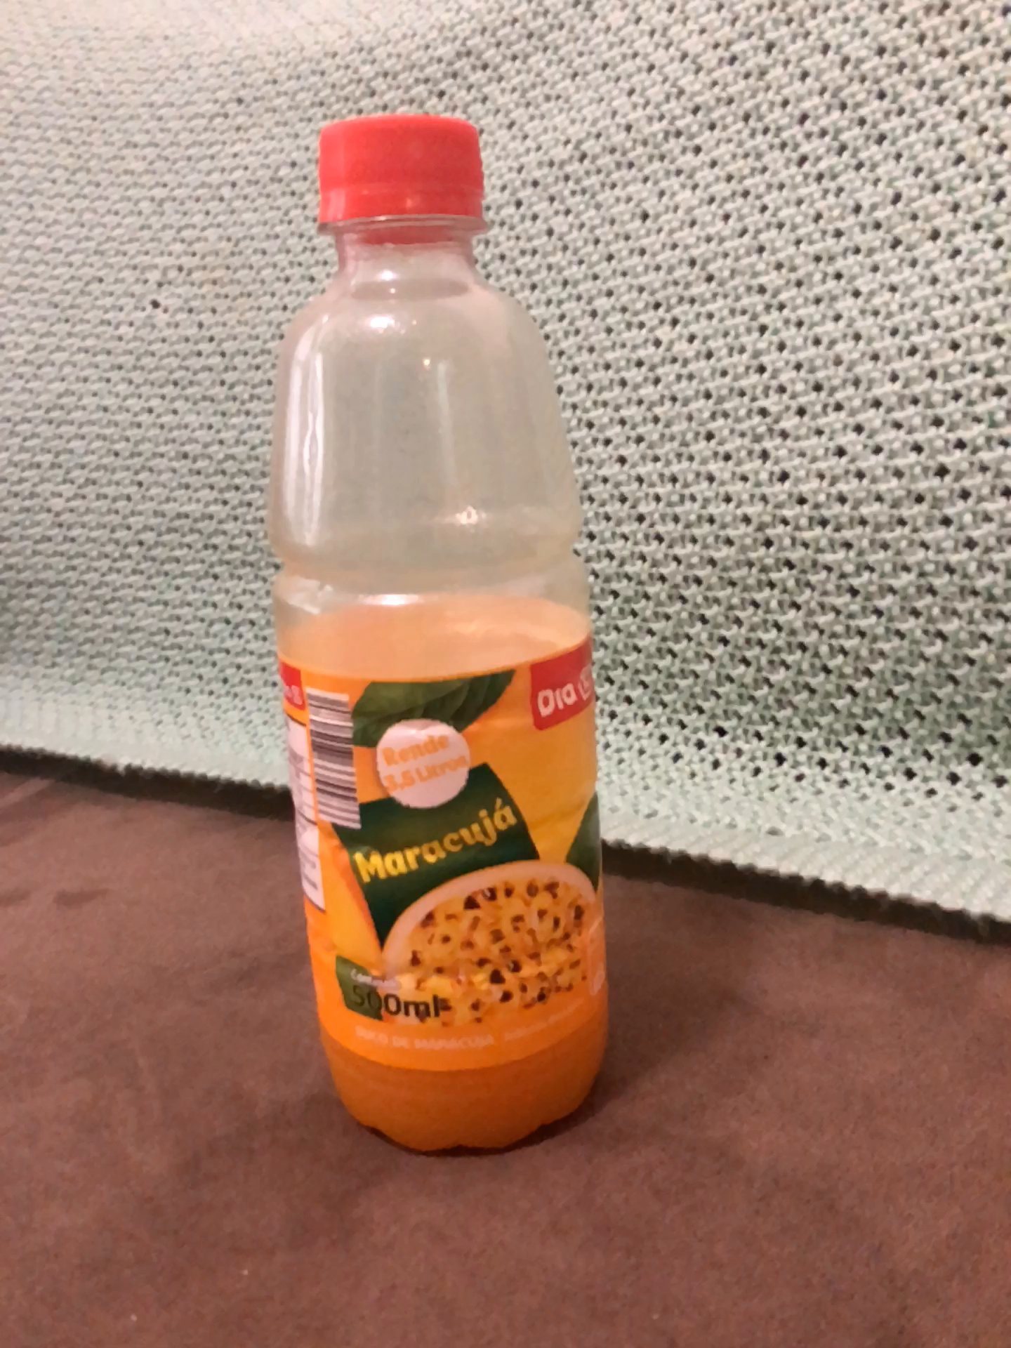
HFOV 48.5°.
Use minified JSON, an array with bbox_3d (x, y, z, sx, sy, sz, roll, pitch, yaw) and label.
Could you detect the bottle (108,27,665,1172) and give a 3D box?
[{"bbox_3d":[-0.014,-0.011,0.235,0.080,0.199,0.080,-4,14,1],"label":"bottle"}]
